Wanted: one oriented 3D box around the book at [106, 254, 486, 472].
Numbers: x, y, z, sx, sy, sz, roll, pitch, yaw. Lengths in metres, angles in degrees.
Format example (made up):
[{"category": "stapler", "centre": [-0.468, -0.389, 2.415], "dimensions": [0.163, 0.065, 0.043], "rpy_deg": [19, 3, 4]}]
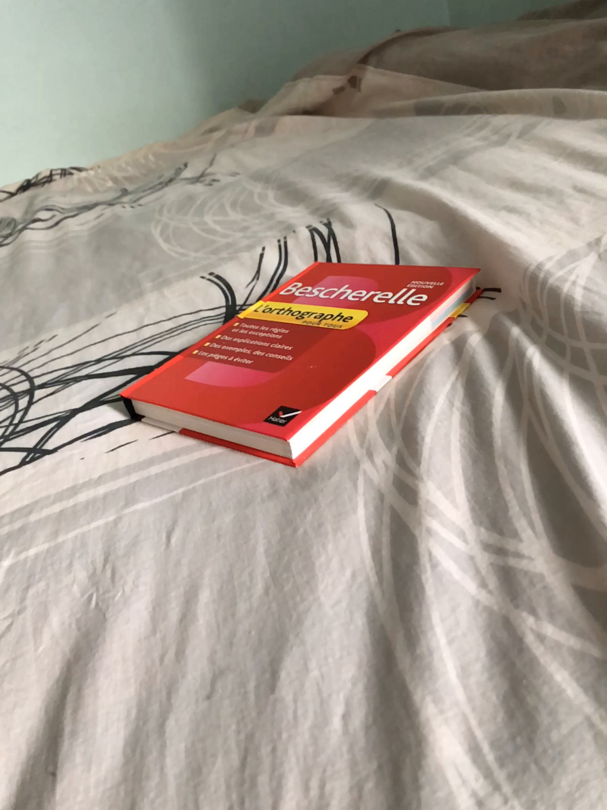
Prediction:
[{"category": "book", "centre": [-0.001, -0.040, 0.403], "dimensions": [0.143, 0.023, 0.190], "rpy_deg": [11, 40, 41]}]
